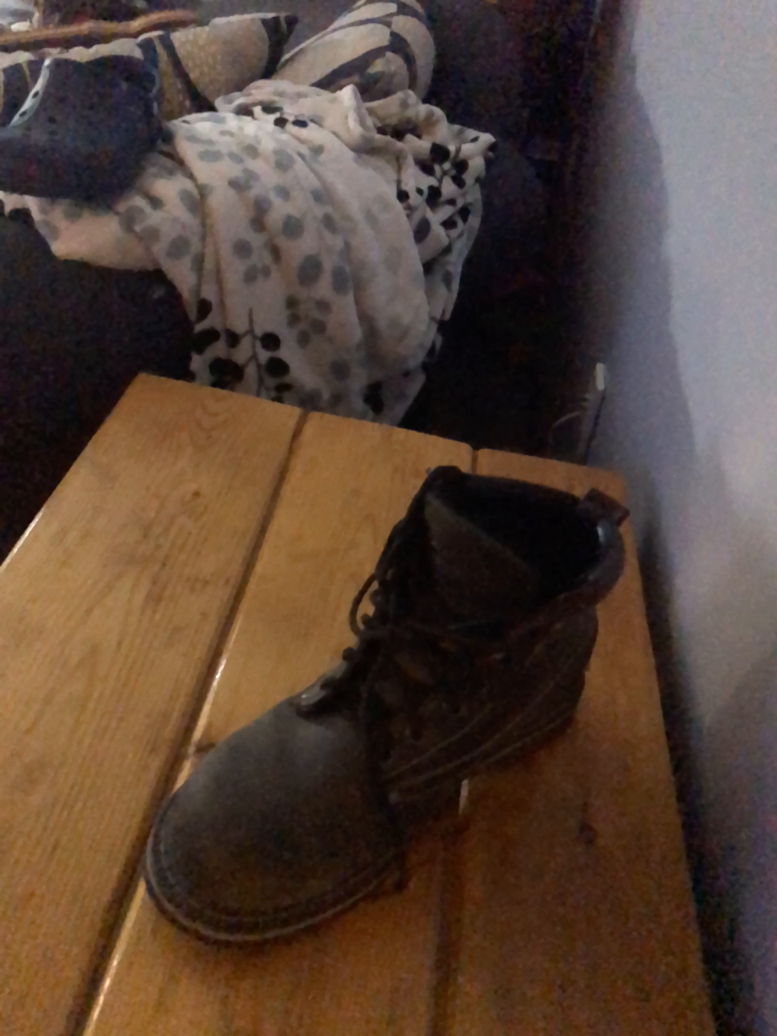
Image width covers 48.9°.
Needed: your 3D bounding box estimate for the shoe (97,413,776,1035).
[{"bbox_3d":[0.030,0.091,0.462,0.321,0.189,0.130,-20,48,-34],"label":"shoe"}]
